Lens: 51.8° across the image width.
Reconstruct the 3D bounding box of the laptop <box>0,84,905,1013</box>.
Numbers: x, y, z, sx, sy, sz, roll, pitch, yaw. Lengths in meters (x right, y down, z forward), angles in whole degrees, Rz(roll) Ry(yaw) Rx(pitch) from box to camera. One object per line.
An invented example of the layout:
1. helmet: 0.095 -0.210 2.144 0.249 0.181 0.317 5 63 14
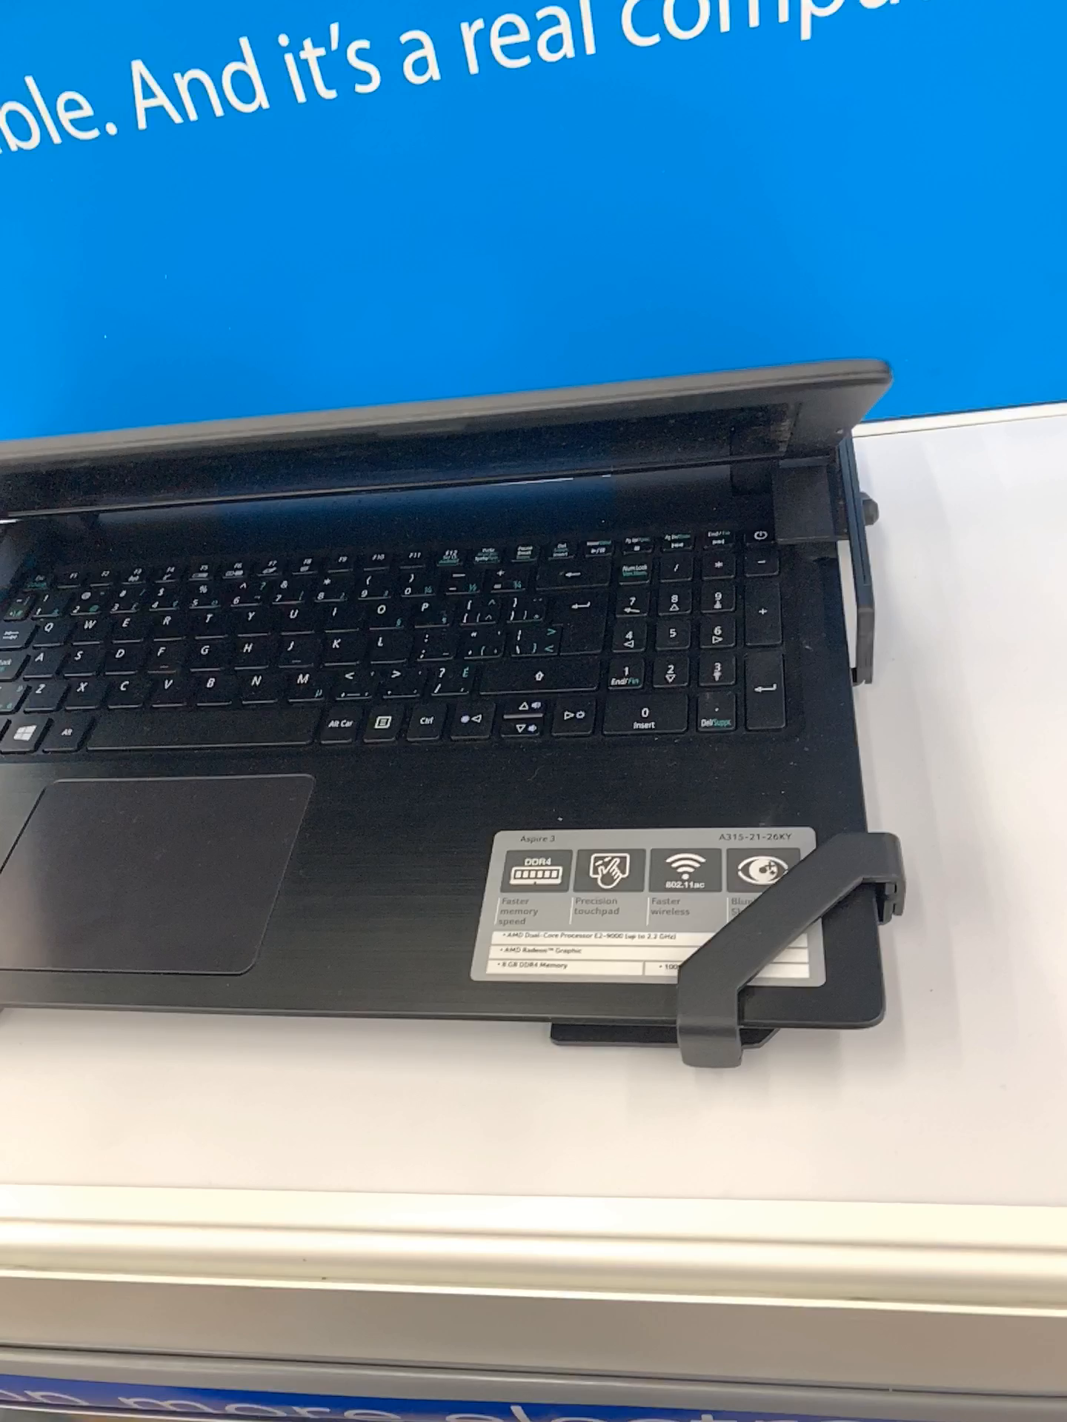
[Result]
1. laptop: -0.089 -0.049 0.345 0.364 0.137 0.222 -2 50 11
